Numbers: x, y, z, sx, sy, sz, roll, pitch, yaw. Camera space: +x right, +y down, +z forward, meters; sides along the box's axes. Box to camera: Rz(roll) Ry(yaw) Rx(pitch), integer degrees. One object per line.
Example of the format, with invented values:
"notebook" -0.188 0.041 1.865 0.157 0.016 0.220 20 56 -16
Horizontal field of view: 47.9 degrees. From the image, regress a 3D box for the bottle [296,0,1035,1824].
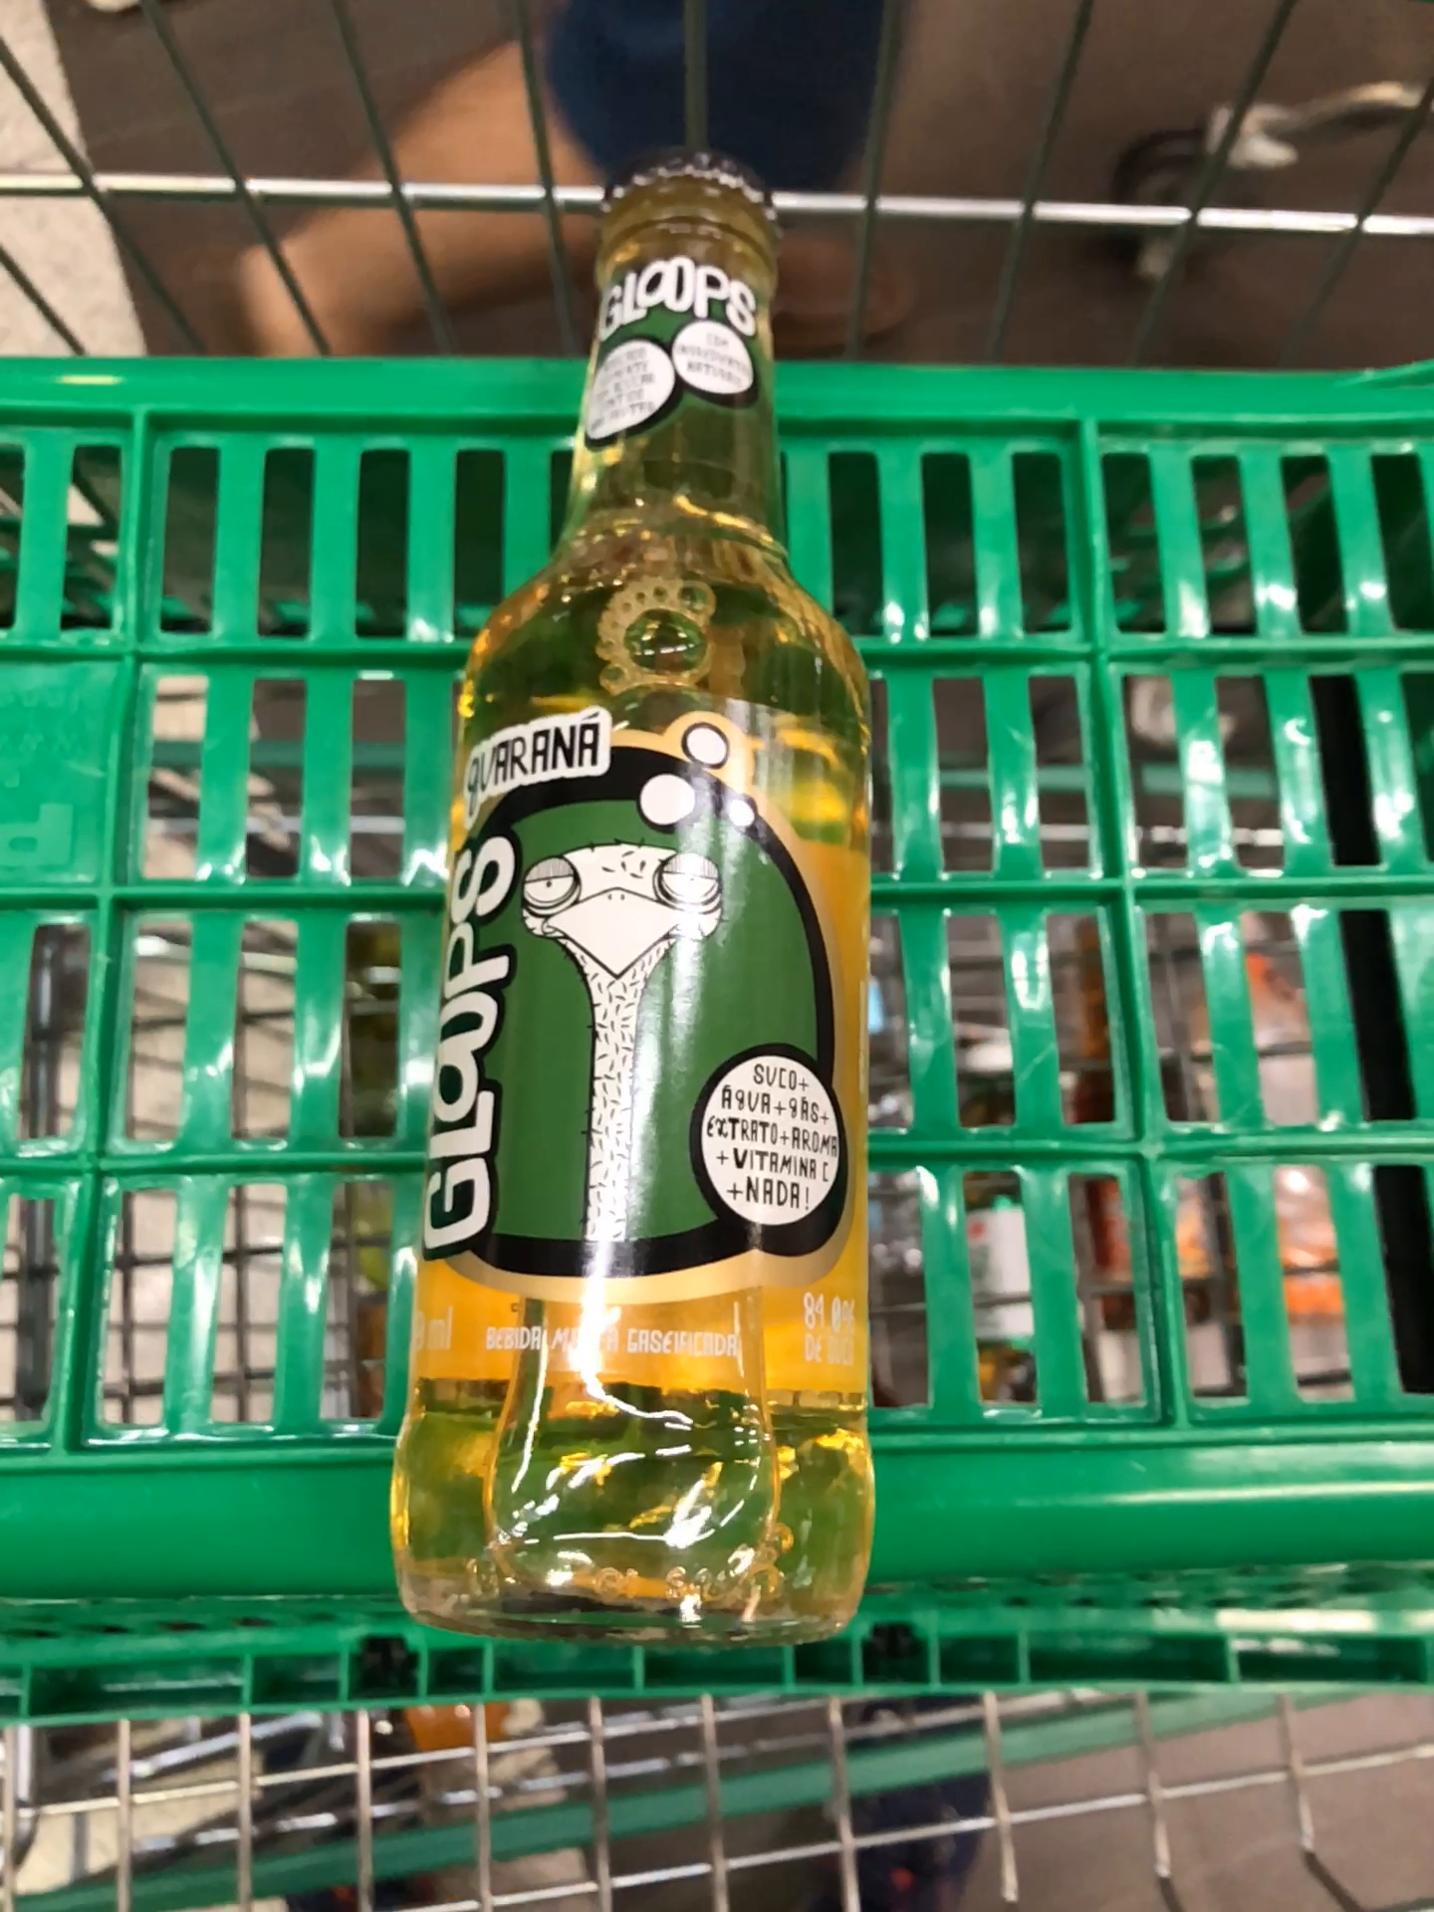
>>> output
"bottle" -0.004 -0.018 0.209 0.070 0.060 0.220 2 76 -2
